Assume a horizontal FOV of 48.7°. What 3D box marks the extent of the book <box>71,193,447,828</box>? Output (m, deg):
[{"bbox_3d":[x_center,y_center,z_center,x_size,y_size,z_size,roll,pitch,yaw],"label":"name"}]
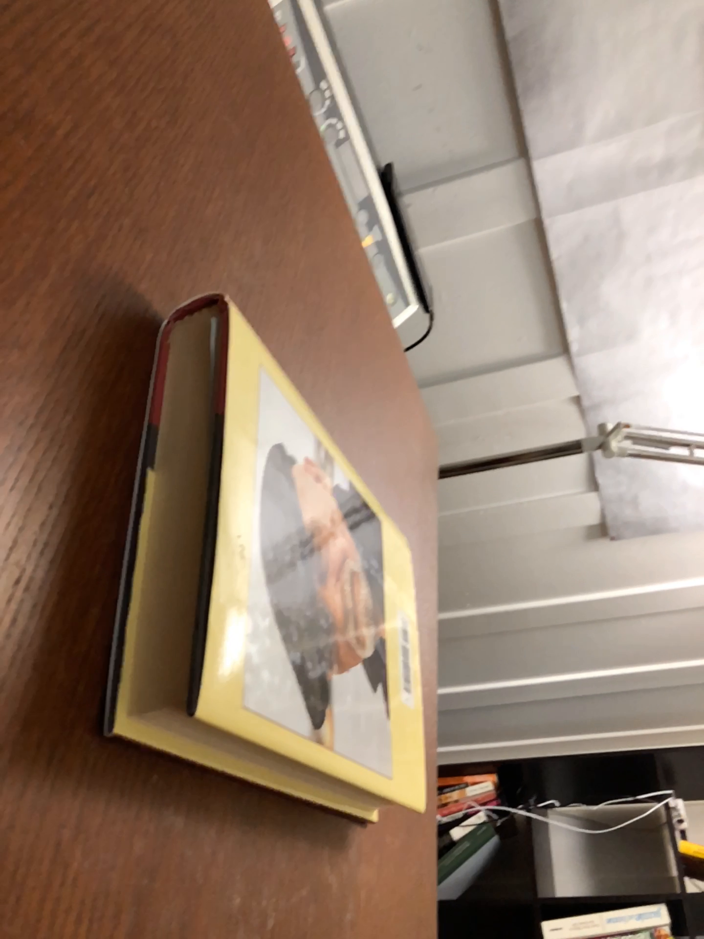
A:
[{"bbox_3d":[-0.013,0.041,0.345,0.251,0.030,0.190,52,31,-53],"label":"book"}]
